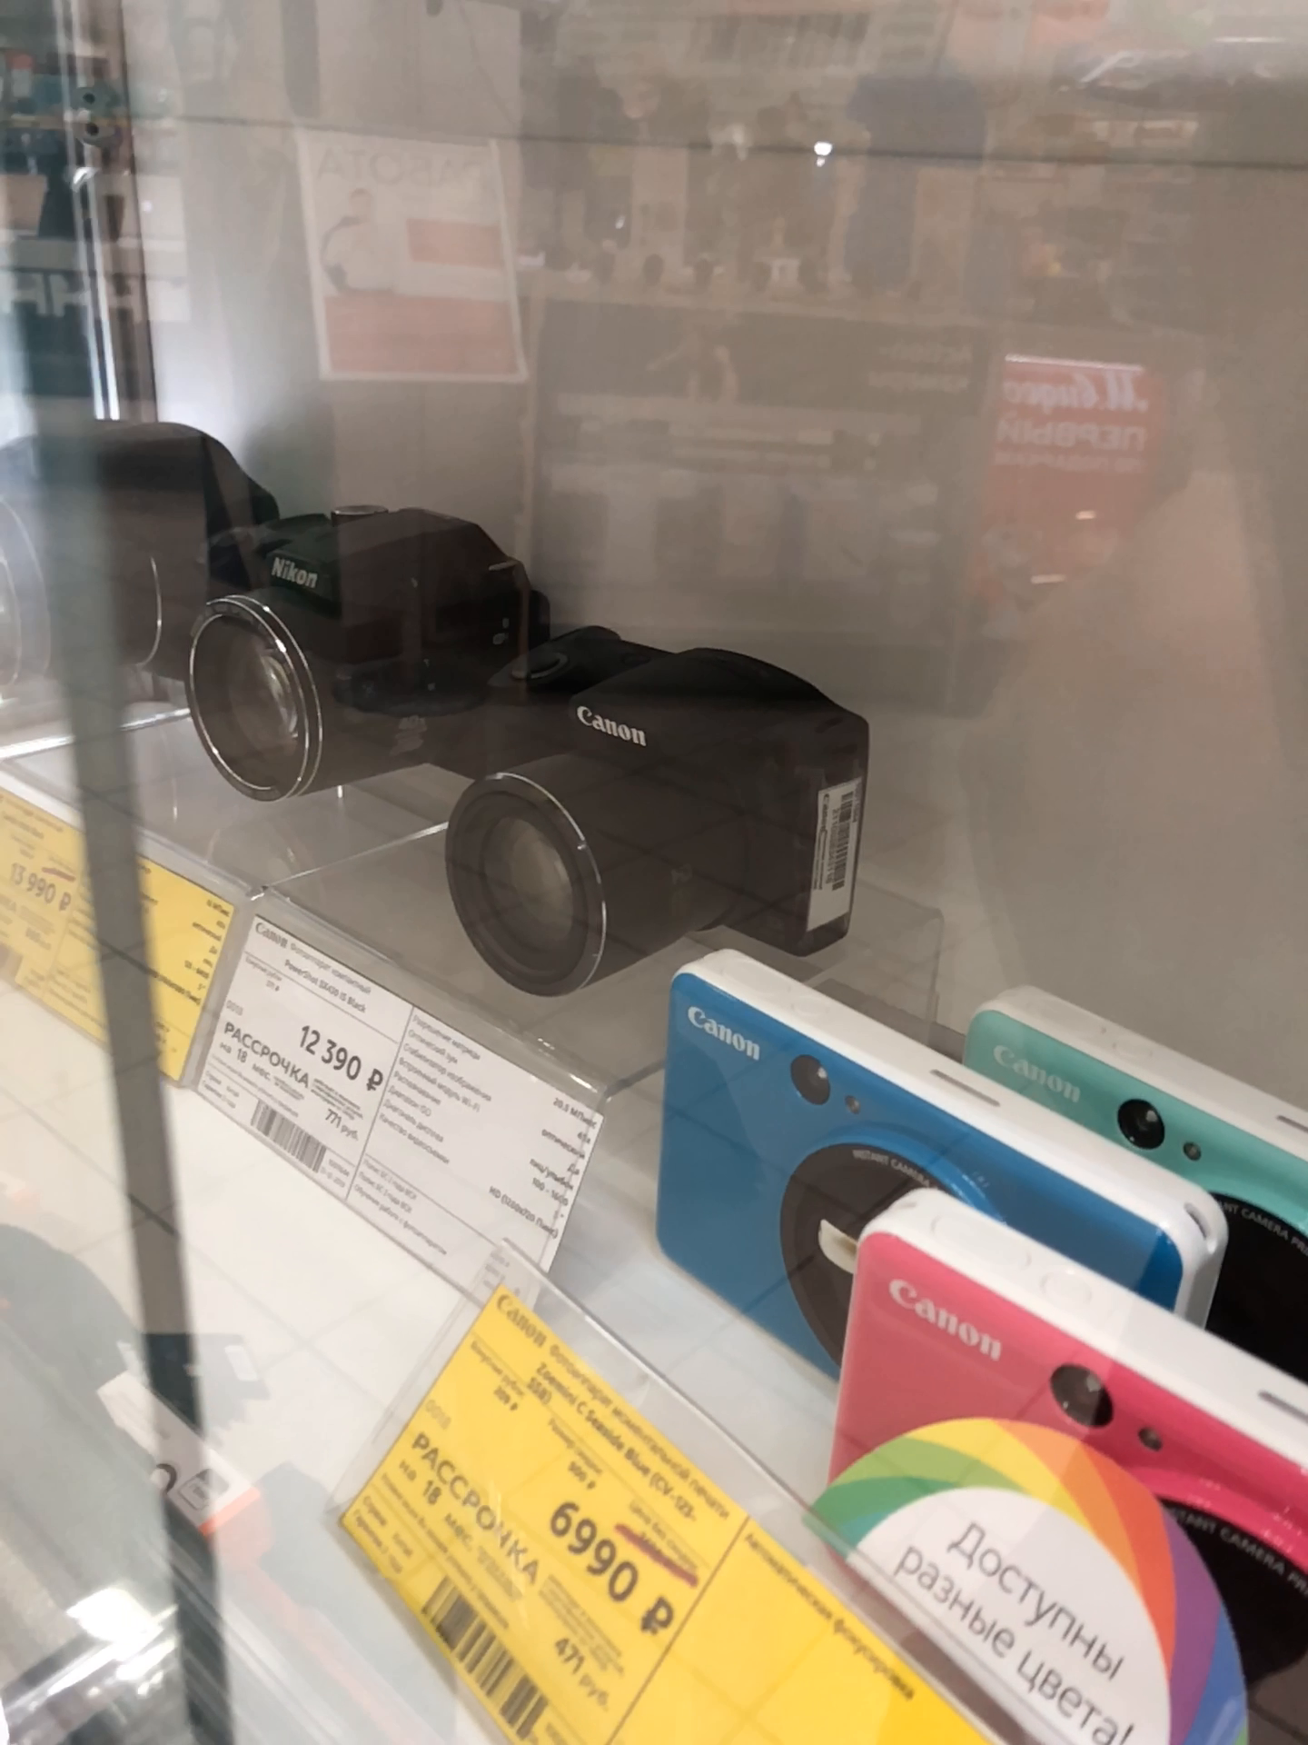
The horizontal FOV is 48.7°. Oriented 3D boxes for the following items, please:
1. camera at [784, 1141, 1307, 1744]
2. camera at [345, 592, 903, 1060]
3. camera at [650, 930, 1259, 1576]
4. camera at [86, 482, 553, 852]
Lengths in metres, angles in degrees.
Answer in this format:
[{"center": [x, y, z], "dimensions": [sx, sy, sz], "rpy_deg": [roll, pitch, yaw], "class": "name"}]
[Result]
[{"center": [0.076, 0.103, 0.216], "dimensions": [0.028, 0.073, 0.118], "rpy_deg": [-20, 33, -39], "class": "camera"}, {"center": [-0.009, -0.019, 0.366], "dimensions": [0.100, 0.070, 0.093], "rpy_deg": [24, 32, 38], "class": "camera"}, {"center": [0.051, 0.070, 0.292], "dimensions": [0.028, 0.073, 0.118], "rpy_deg": [-20, 33, -39], "class": "camera"}, {"center": [-0.099, -0.068, 0.436], "dimensions": [0.100, 0.073, 0.093], "rpy_deg": [24, 32, 38], "class": "camera"}]
